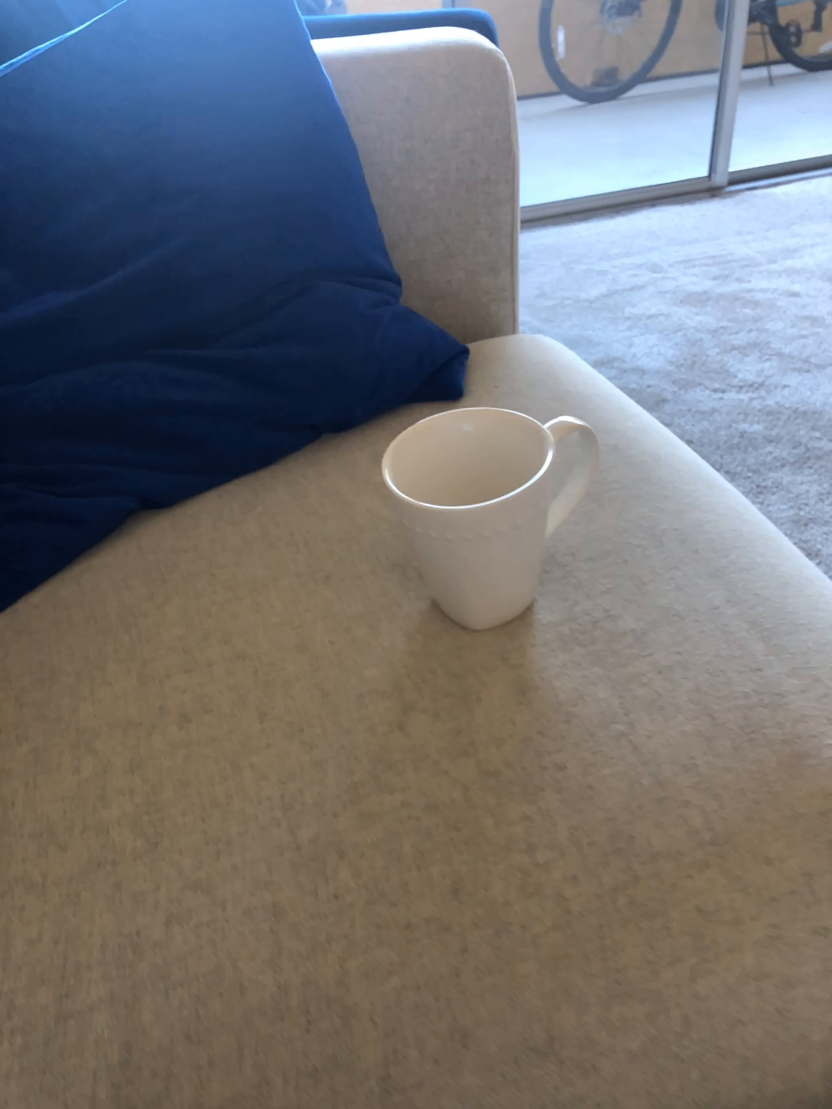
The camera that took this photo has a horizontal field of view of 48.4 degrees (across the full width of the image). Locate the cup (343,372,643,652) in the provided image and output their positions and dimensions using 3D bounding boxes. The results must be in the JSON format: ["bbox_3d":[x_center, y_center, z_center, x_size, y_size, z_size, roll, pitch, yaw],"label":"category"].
[{"bbox_3d":[0.042,-0.029,0.527,0.130,0.090,0.100,-18,38,-17],"label":"cup"}]
